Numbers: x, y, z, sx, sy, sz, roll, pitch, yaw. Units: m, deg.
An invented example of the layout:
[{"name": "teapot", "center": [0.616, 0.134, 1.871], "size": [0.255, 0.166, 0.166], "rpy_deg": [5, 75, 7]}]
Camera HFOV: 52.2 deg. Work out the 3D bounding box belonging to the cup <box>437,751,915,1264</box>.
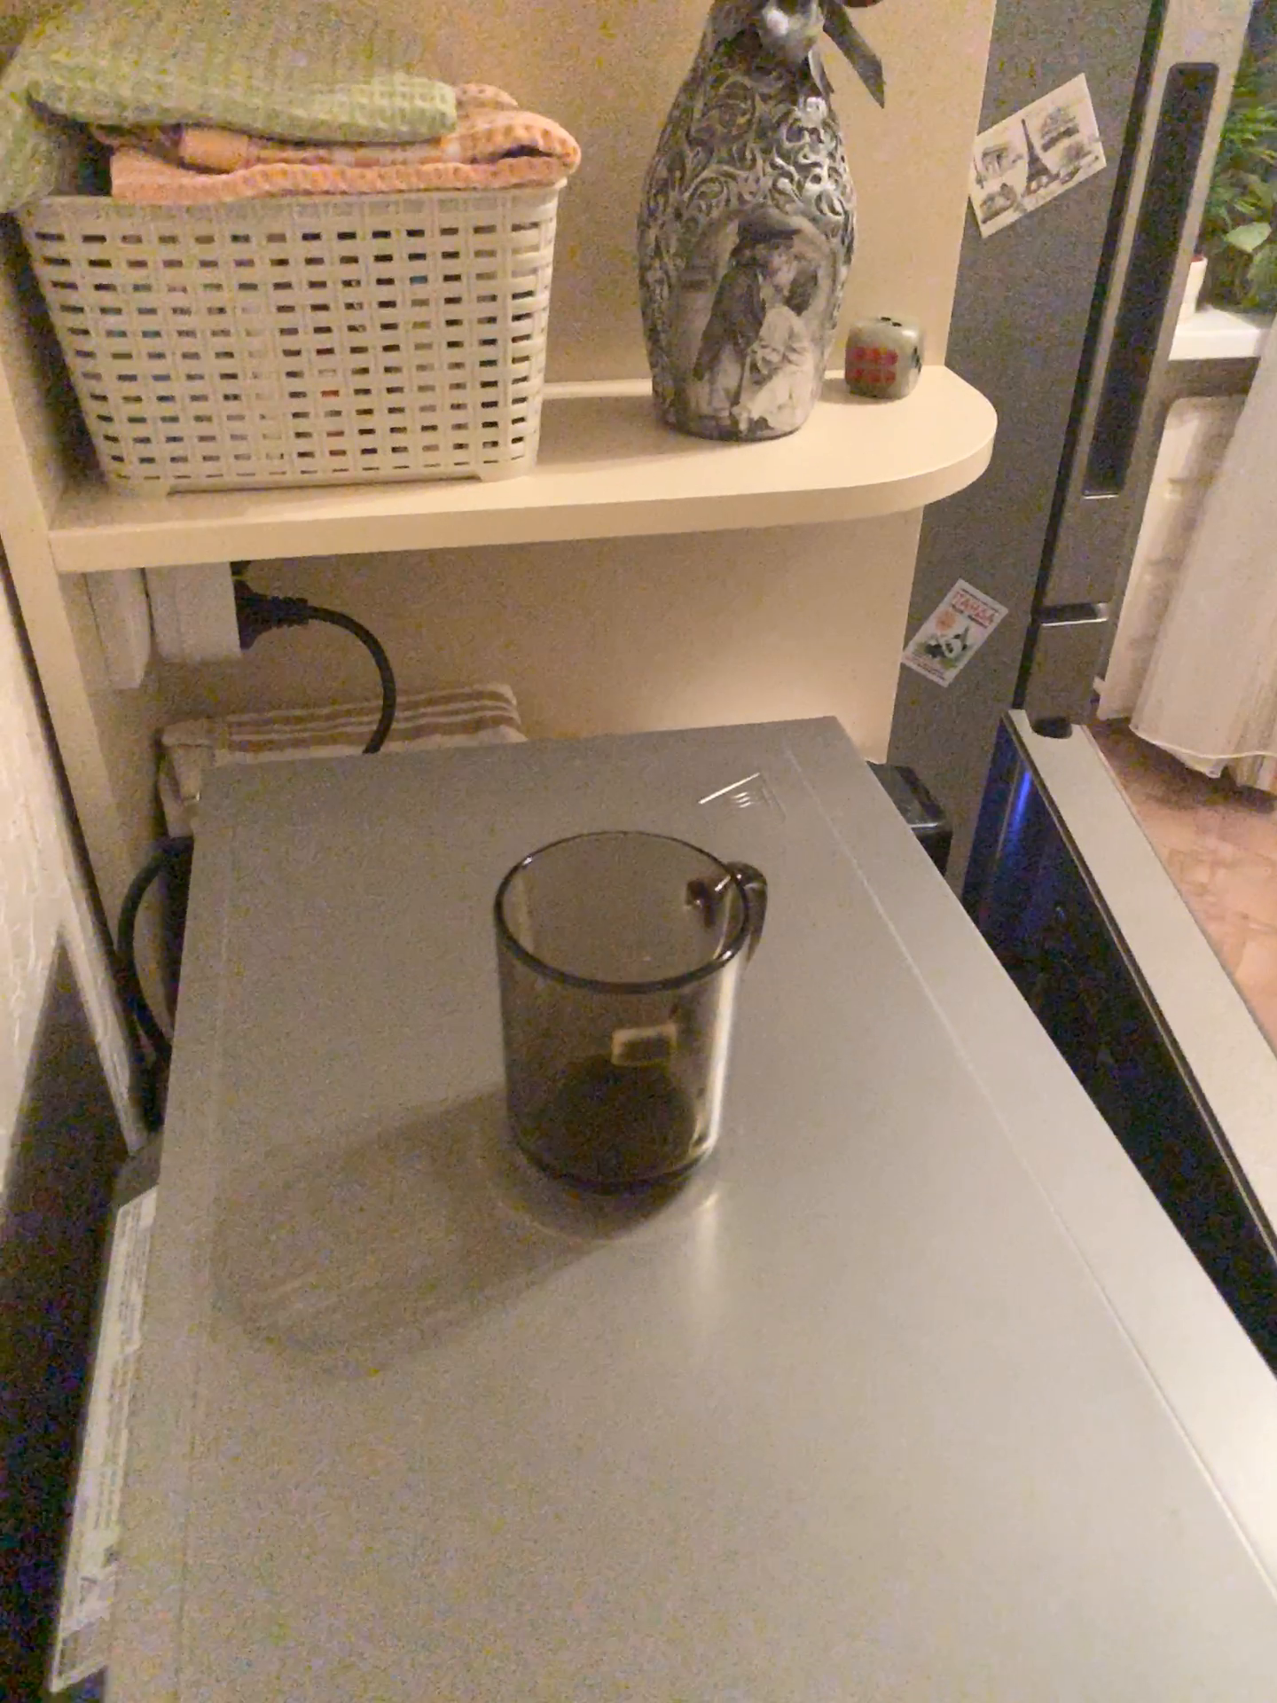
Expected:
[{"name": "cup", "center": [0.012, 0.040, 0.385], "size": [0.080, 0.079, 0.111], "rpy_deg": [29, 43, 33]}]
